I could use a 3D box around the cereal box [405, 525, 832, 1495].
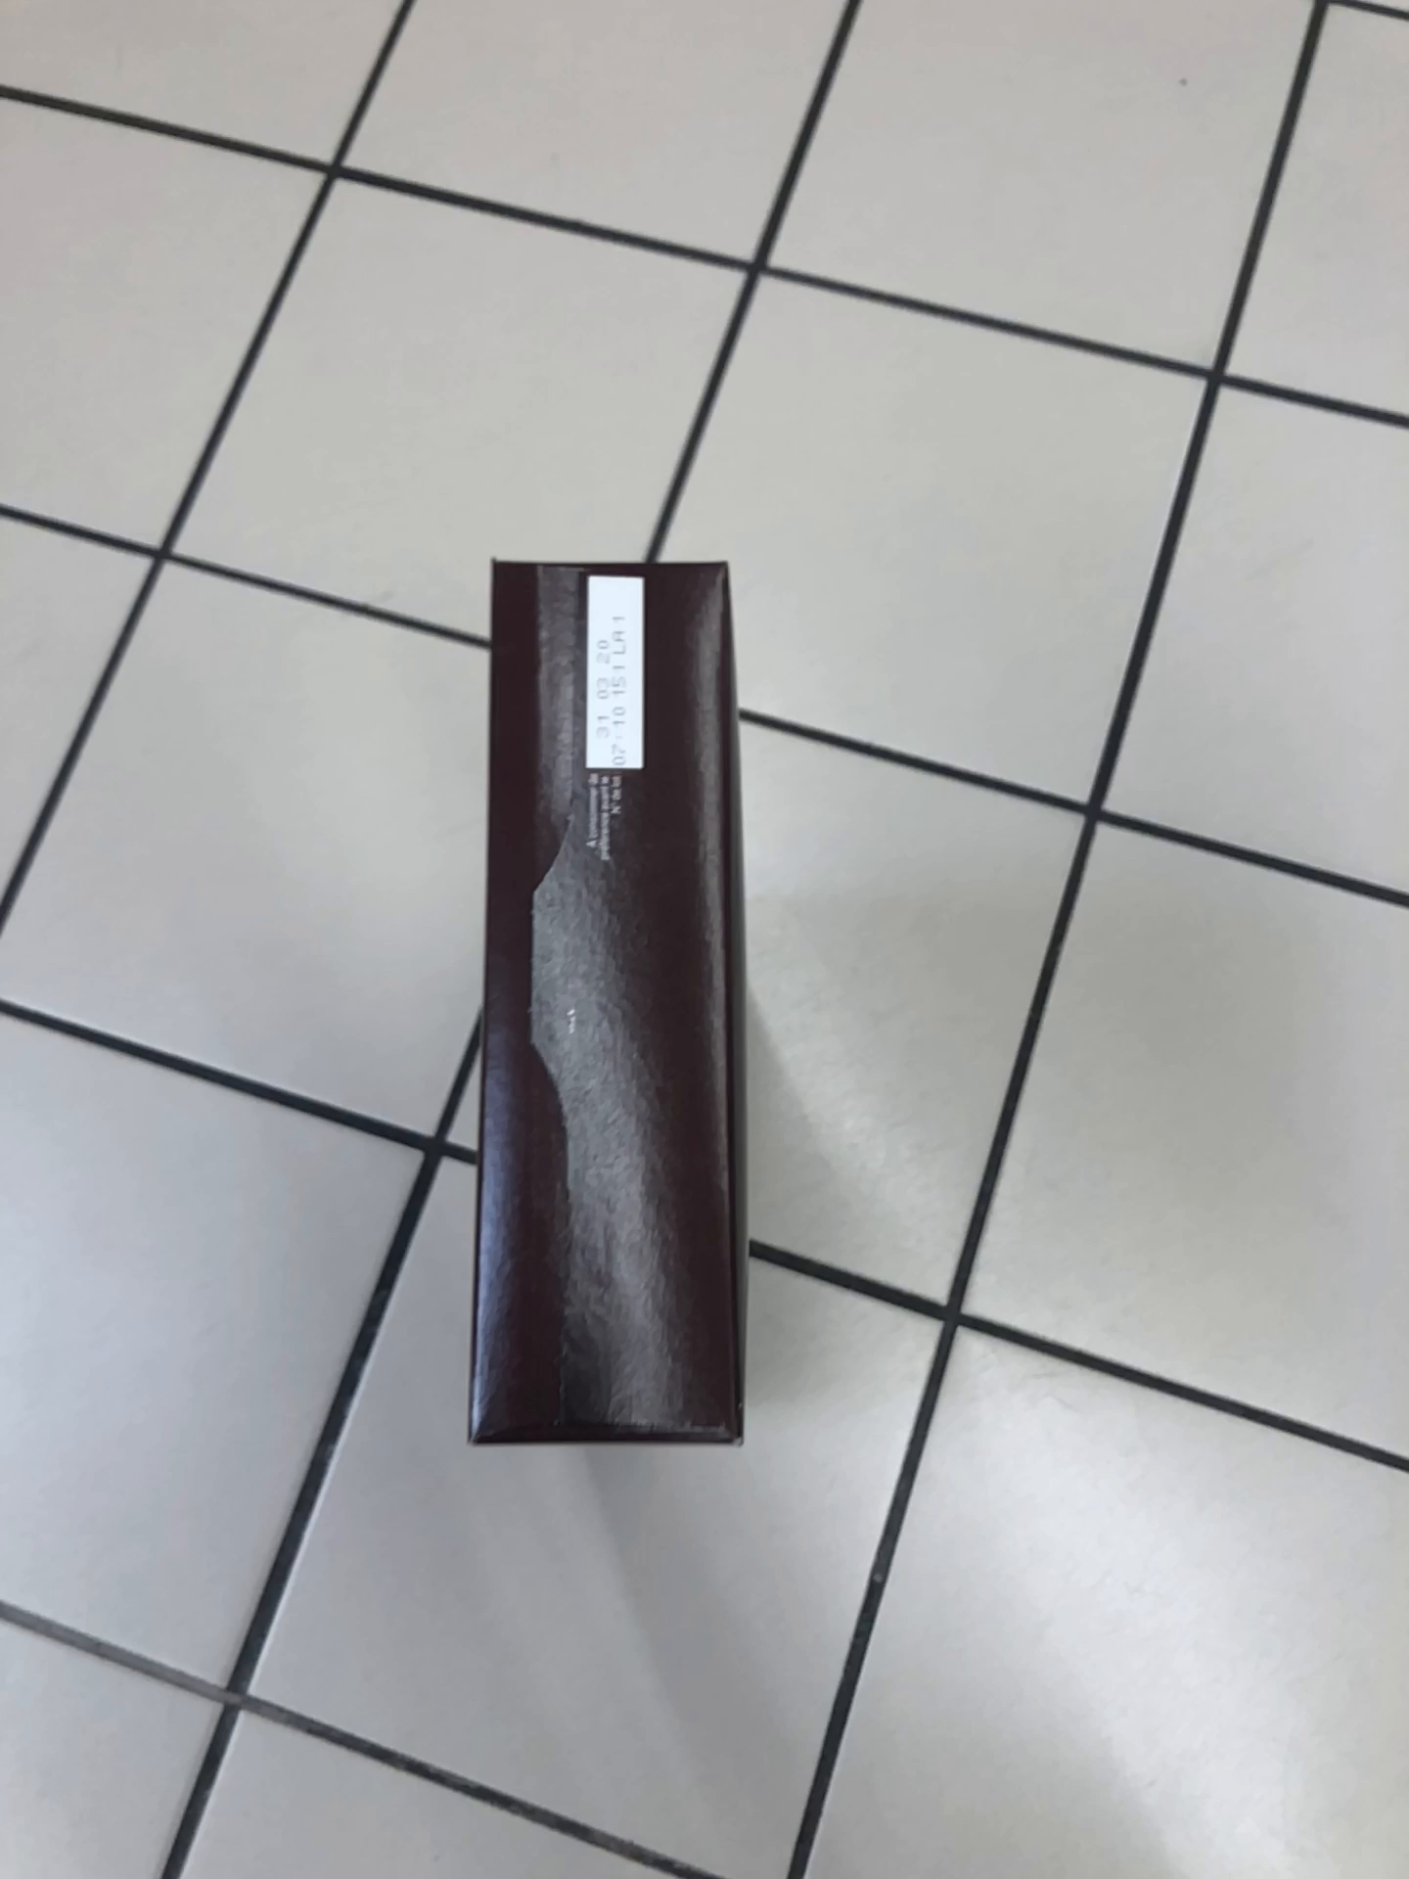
[{"bbox_3d":[-0.017,0.041,0.449,0.080,0.270,0.200,-2,75,0],"label":"cereal box"}]
